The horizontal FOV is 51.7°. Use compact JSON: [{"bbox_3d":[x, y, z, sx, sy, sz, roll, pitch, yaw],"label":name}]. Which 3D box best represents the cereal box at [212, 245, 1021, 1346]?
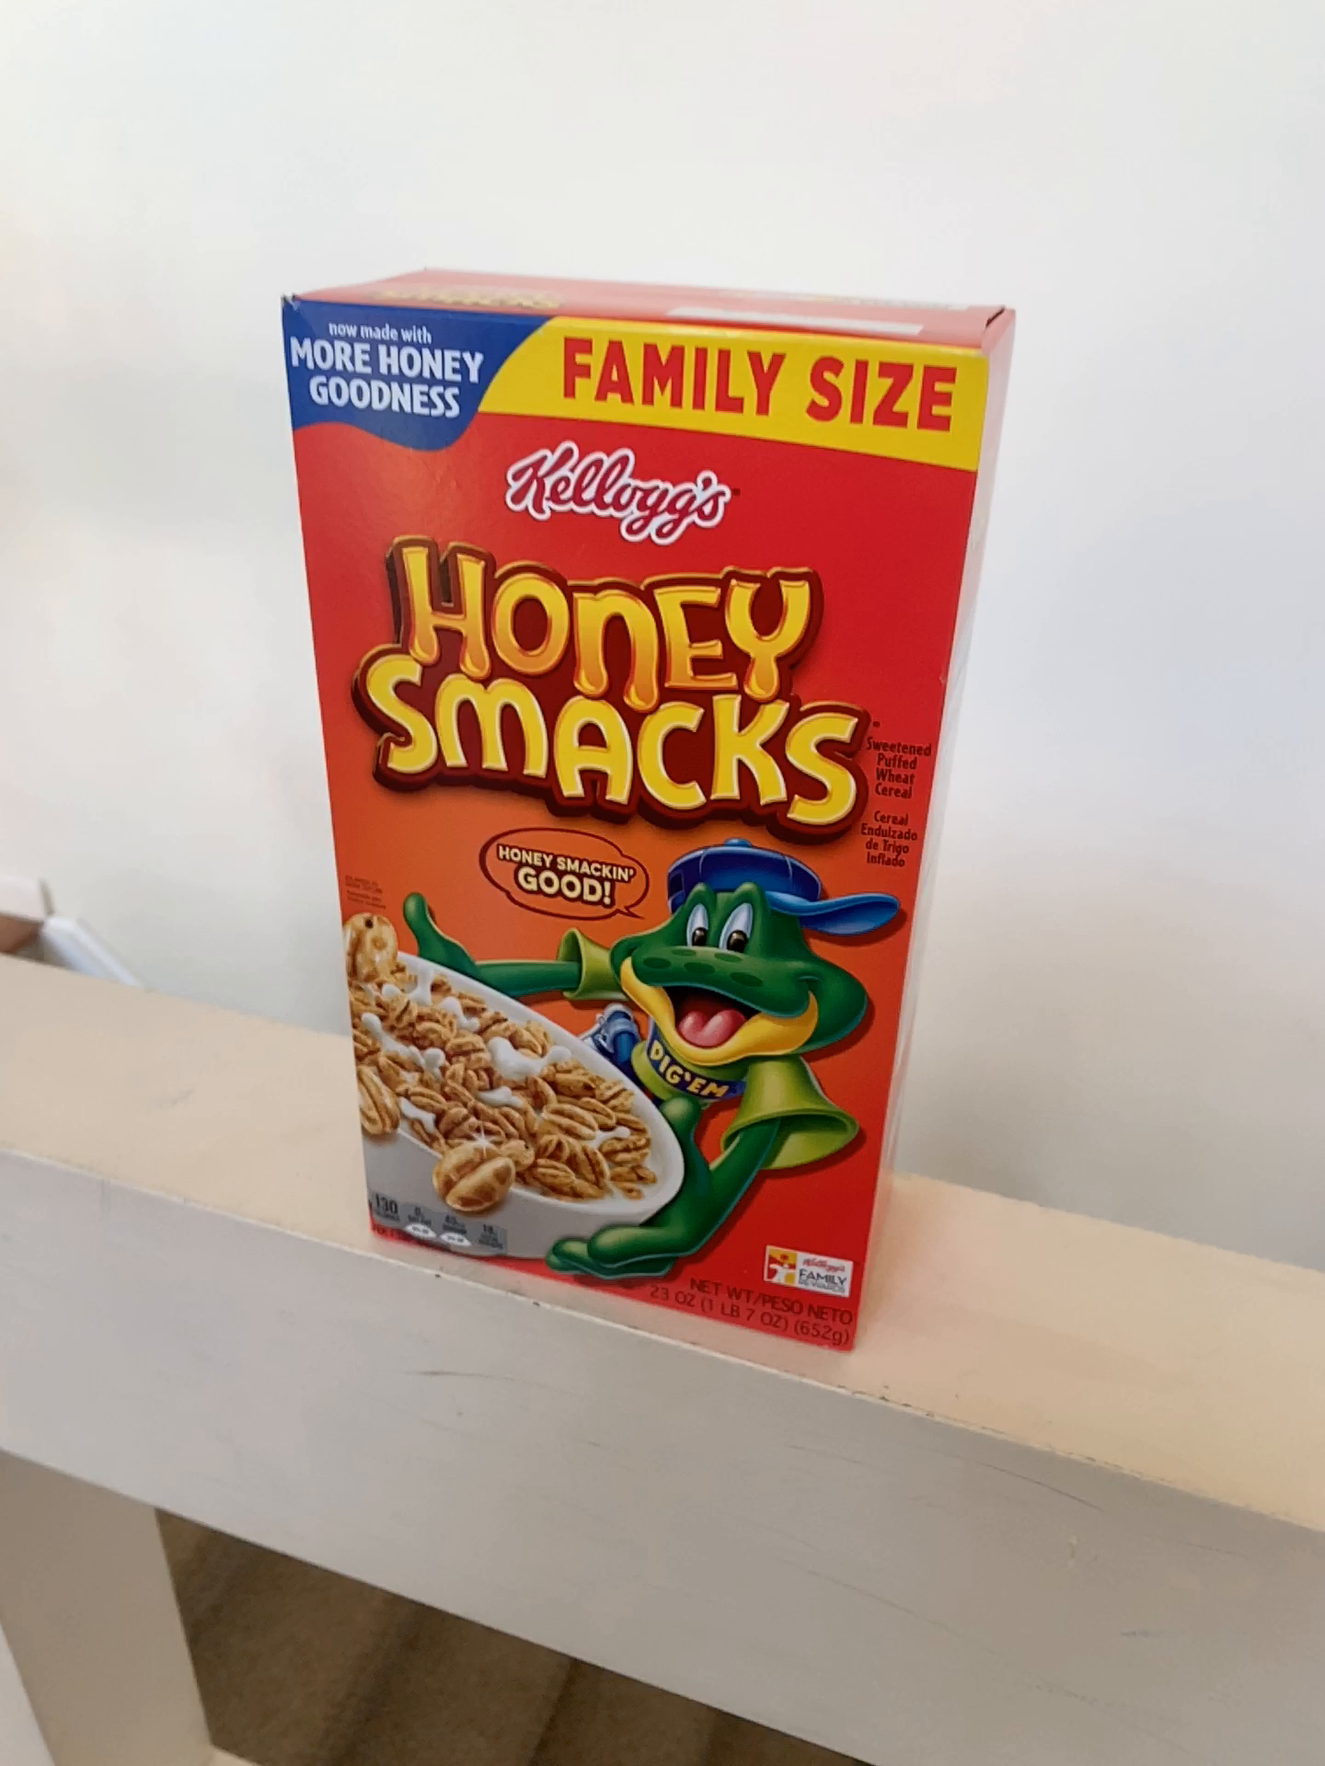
[{"bbox_3d":[-0.013,-0.025,0.471,0.210,0.338,0.100,10,29,14],"label":"cereal box"}]
